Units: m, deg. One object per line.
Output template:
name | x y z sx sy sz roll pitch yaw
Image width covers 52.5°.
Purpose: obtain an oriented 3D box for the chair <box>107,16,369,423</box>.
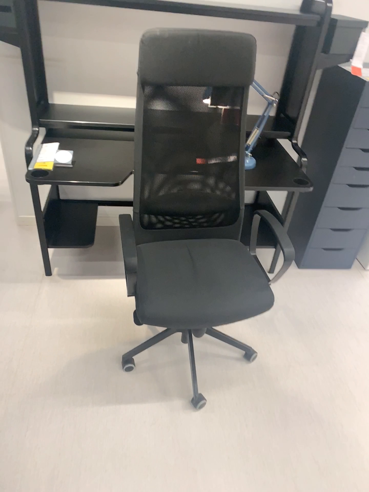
chair | 0.069 -0.064 1.388 0.640 1.245 0.713 -3 37 -12
